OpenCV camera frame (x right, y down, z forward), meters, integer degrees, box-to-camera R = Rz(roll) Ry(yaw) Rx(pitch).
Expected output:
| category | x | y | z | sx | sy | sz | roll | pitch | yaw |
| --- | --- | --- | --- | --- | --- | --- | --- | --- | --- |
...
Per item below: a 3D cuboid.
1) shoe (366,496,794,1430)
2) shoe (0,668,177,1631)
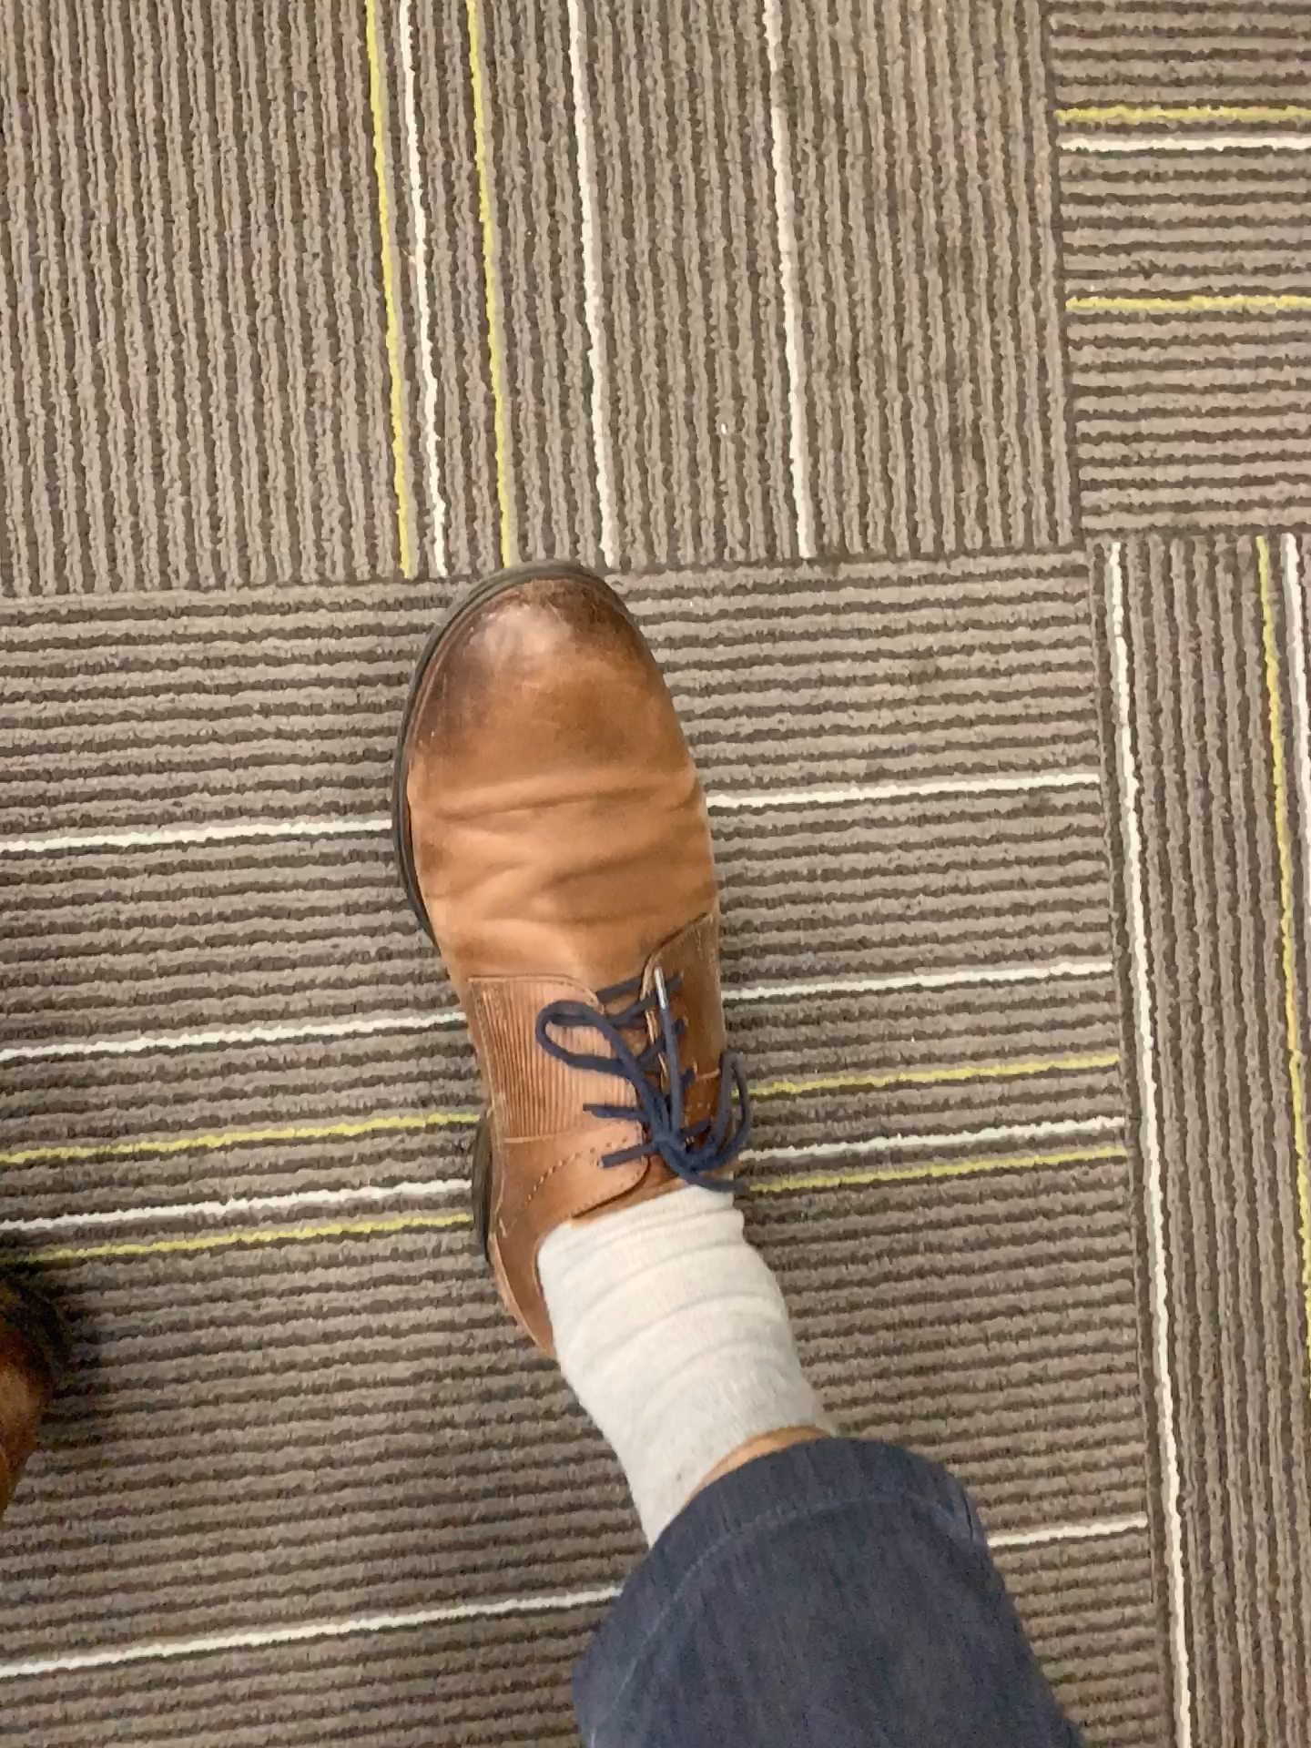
| category | x | y | z | sx | sy | sz | roll | pitch | yaw |
| --- | --- | --- | --- | --- | --- | --- | --- | --- | --- |
| shoe | -0.020 | 0.027 | 0.438 | 0.103 | 0.074 | 0.282 | -12 | 112 | -26 |
| shoe | -0.288 | 0.093 | 0.410 | 0.120 | 0.084 | 0.271 | -26 | 114 | 7 |
